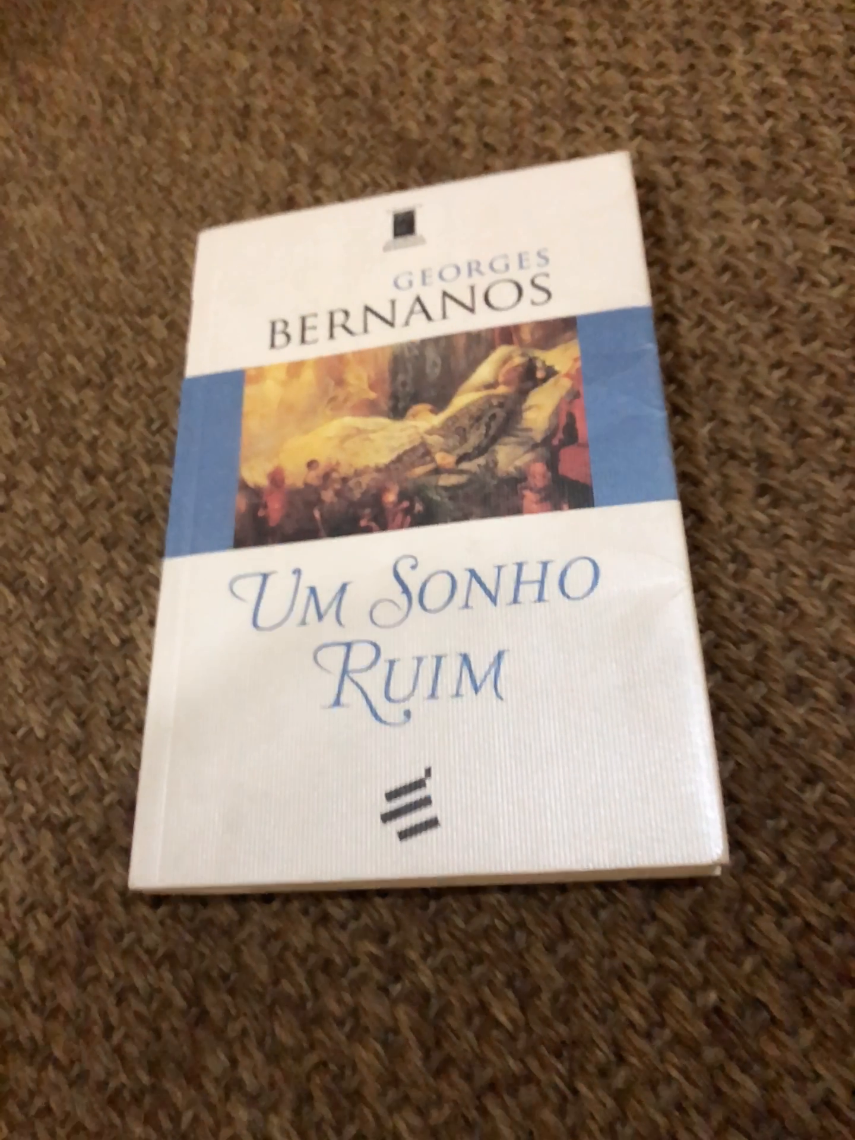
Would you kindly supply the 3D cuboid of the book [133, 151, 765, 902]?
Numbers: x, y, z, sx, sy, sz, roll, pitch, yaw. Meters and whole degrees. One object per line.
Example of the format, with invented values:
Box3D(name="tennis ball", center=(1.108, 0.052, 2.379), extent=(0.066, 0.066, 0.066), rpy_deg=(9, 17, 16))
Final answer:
Box3D(name="book", center=(0.000, -0.019, 0.259), extent=(0.140, 0.020, 0.199), rpy_deg=(-7, 65, 11))
